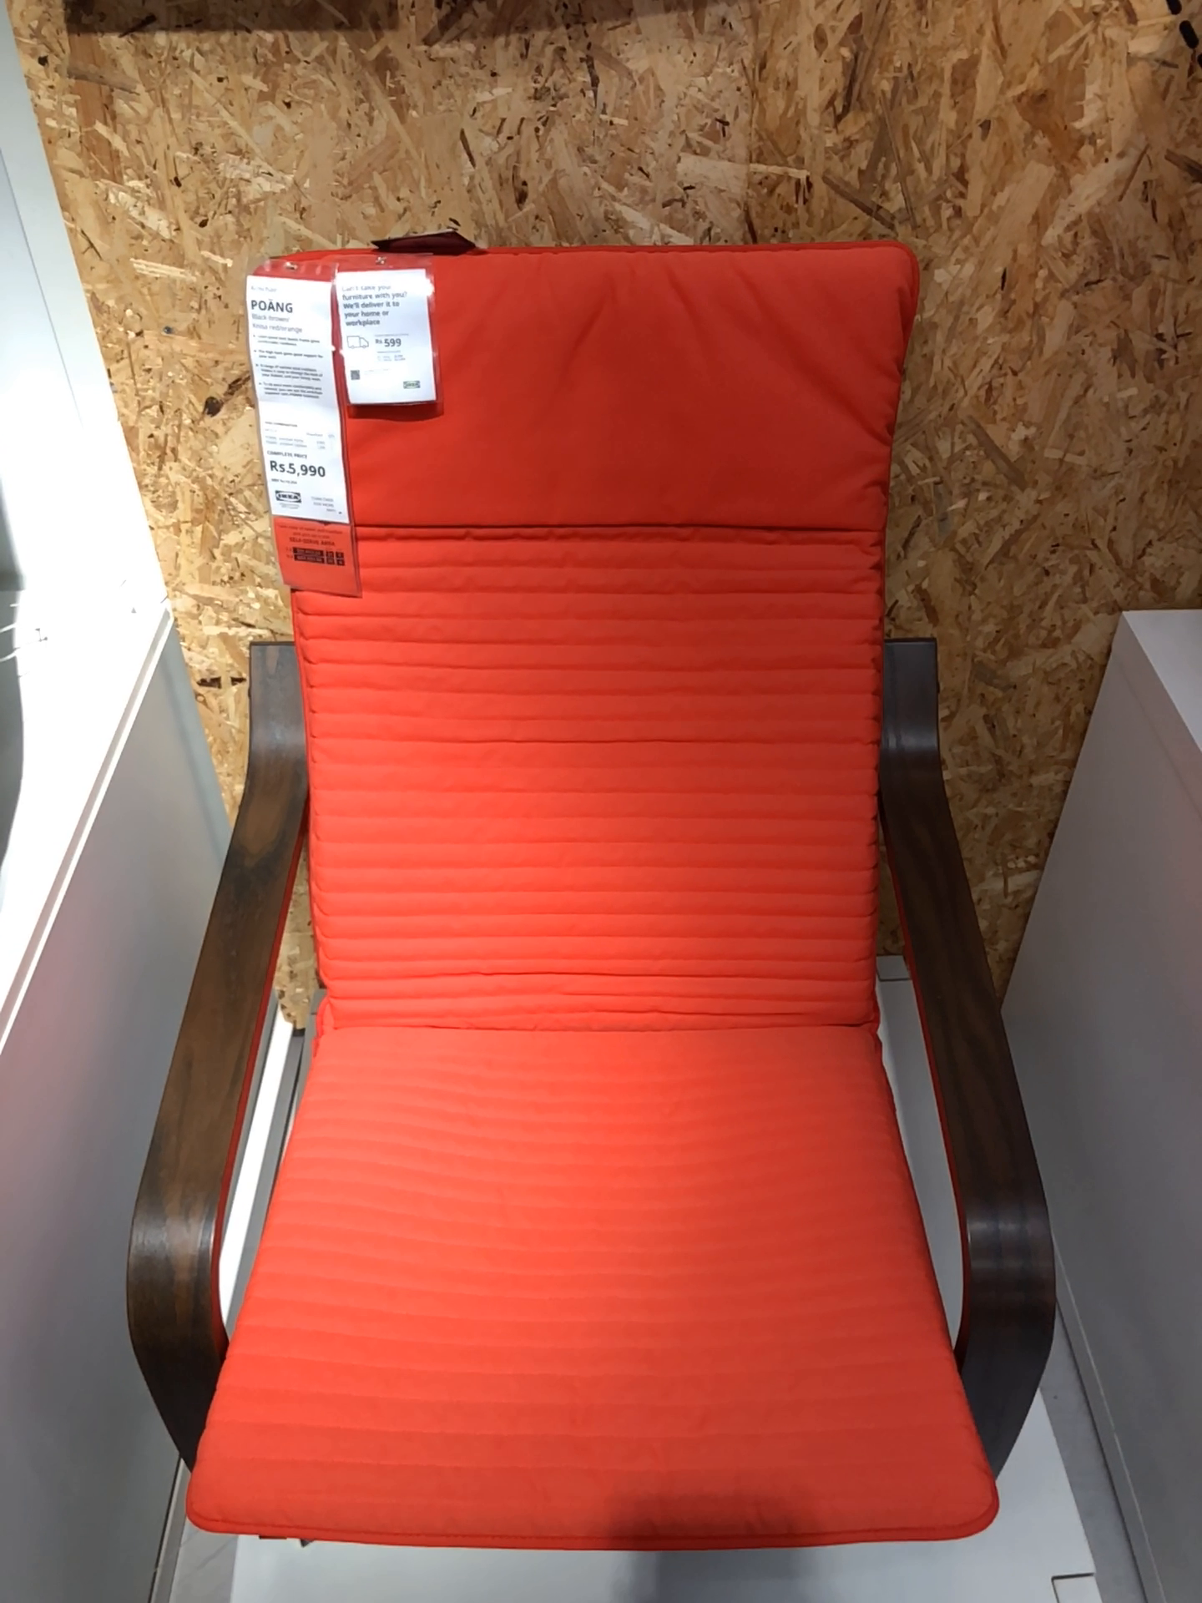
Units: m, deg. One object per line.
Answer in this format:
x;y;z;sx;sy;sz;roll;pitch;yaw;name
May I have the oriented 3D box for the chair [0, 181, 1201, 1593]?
-0.017;0.076;1.129;0.750;0.894;0.795;-1;42;0;chair
